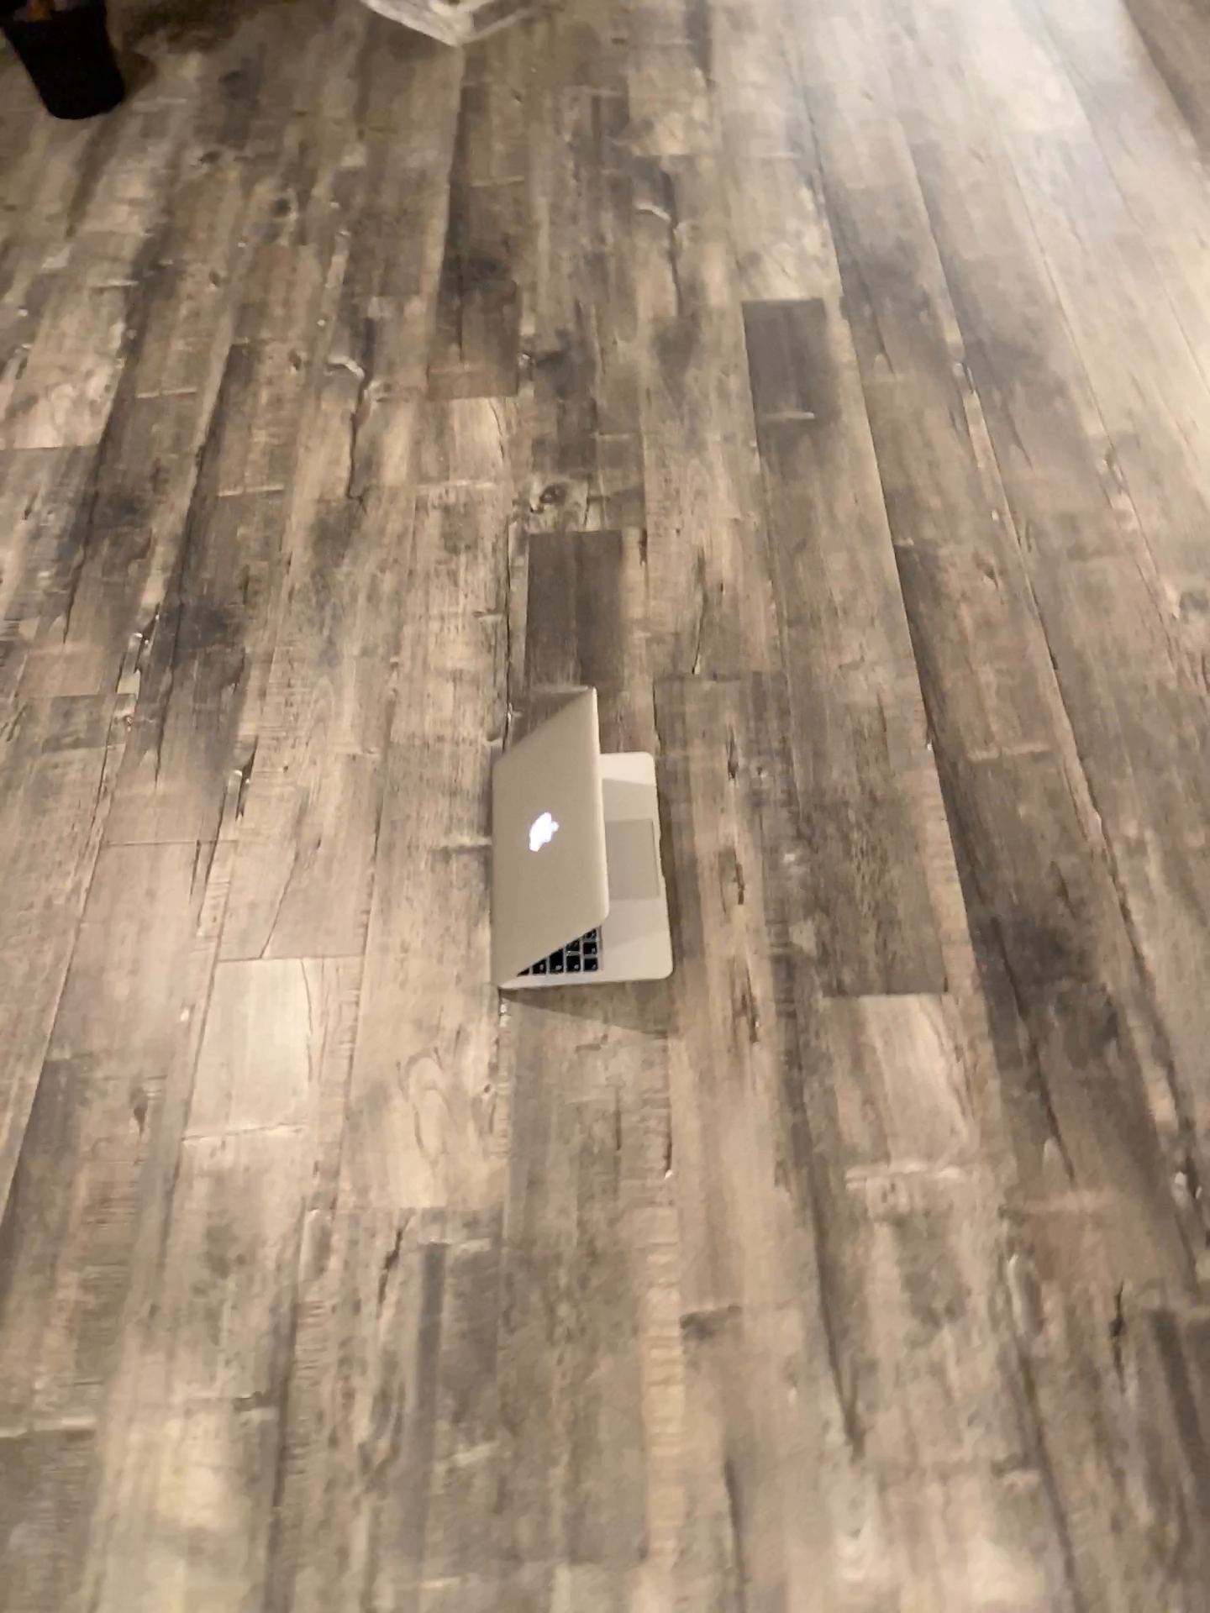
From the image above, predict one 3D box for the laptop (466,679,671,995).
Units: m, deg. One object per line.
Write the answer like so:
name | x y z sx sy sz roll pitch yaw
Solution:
laptop | -0.041 0.029 1.319 0.193 0.132 0.293 -6 56 1
